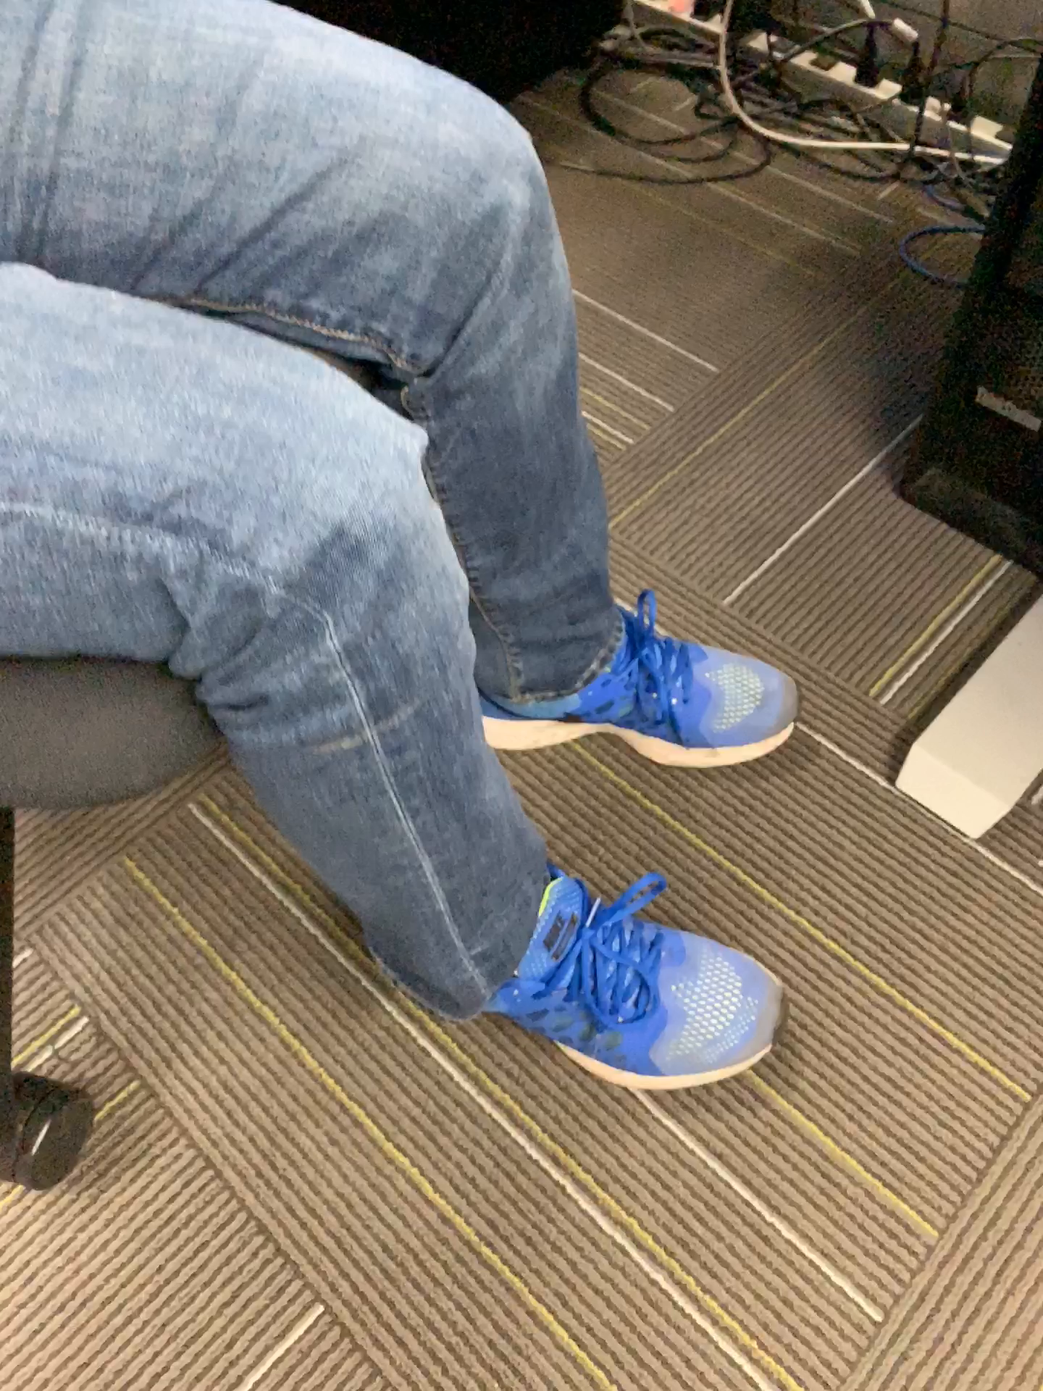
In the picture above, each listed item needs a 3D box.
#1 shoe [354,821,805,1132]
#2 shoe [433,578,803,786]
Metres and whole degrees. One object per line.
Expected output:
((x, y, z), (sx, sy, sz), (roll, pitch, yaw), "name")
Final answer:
((0.041, 0.192, 0.751), (0.279, 0.083, 0.118), (13, 58, 12), "shoe")
((0.080, -0.012, 0.876), (0.278, 0.083, 0.117), (6, 57, 7), "shoe")
